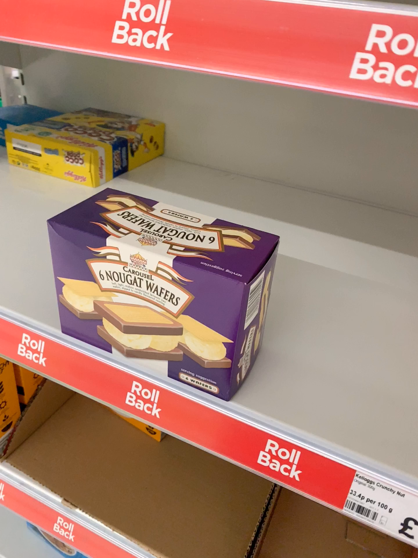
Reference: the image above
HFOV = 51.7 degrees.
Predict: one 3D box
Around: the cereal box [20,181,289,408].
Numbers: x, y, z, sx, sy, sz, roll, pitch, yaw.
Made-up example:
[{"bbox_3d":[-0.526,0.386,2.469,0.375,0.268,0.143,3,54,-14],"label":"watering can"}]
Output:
[{"bbox_3d":[-0.046,0.004,0.368,0.190,0.109,0.091,18,35,18],"label":"cereal box"}]
